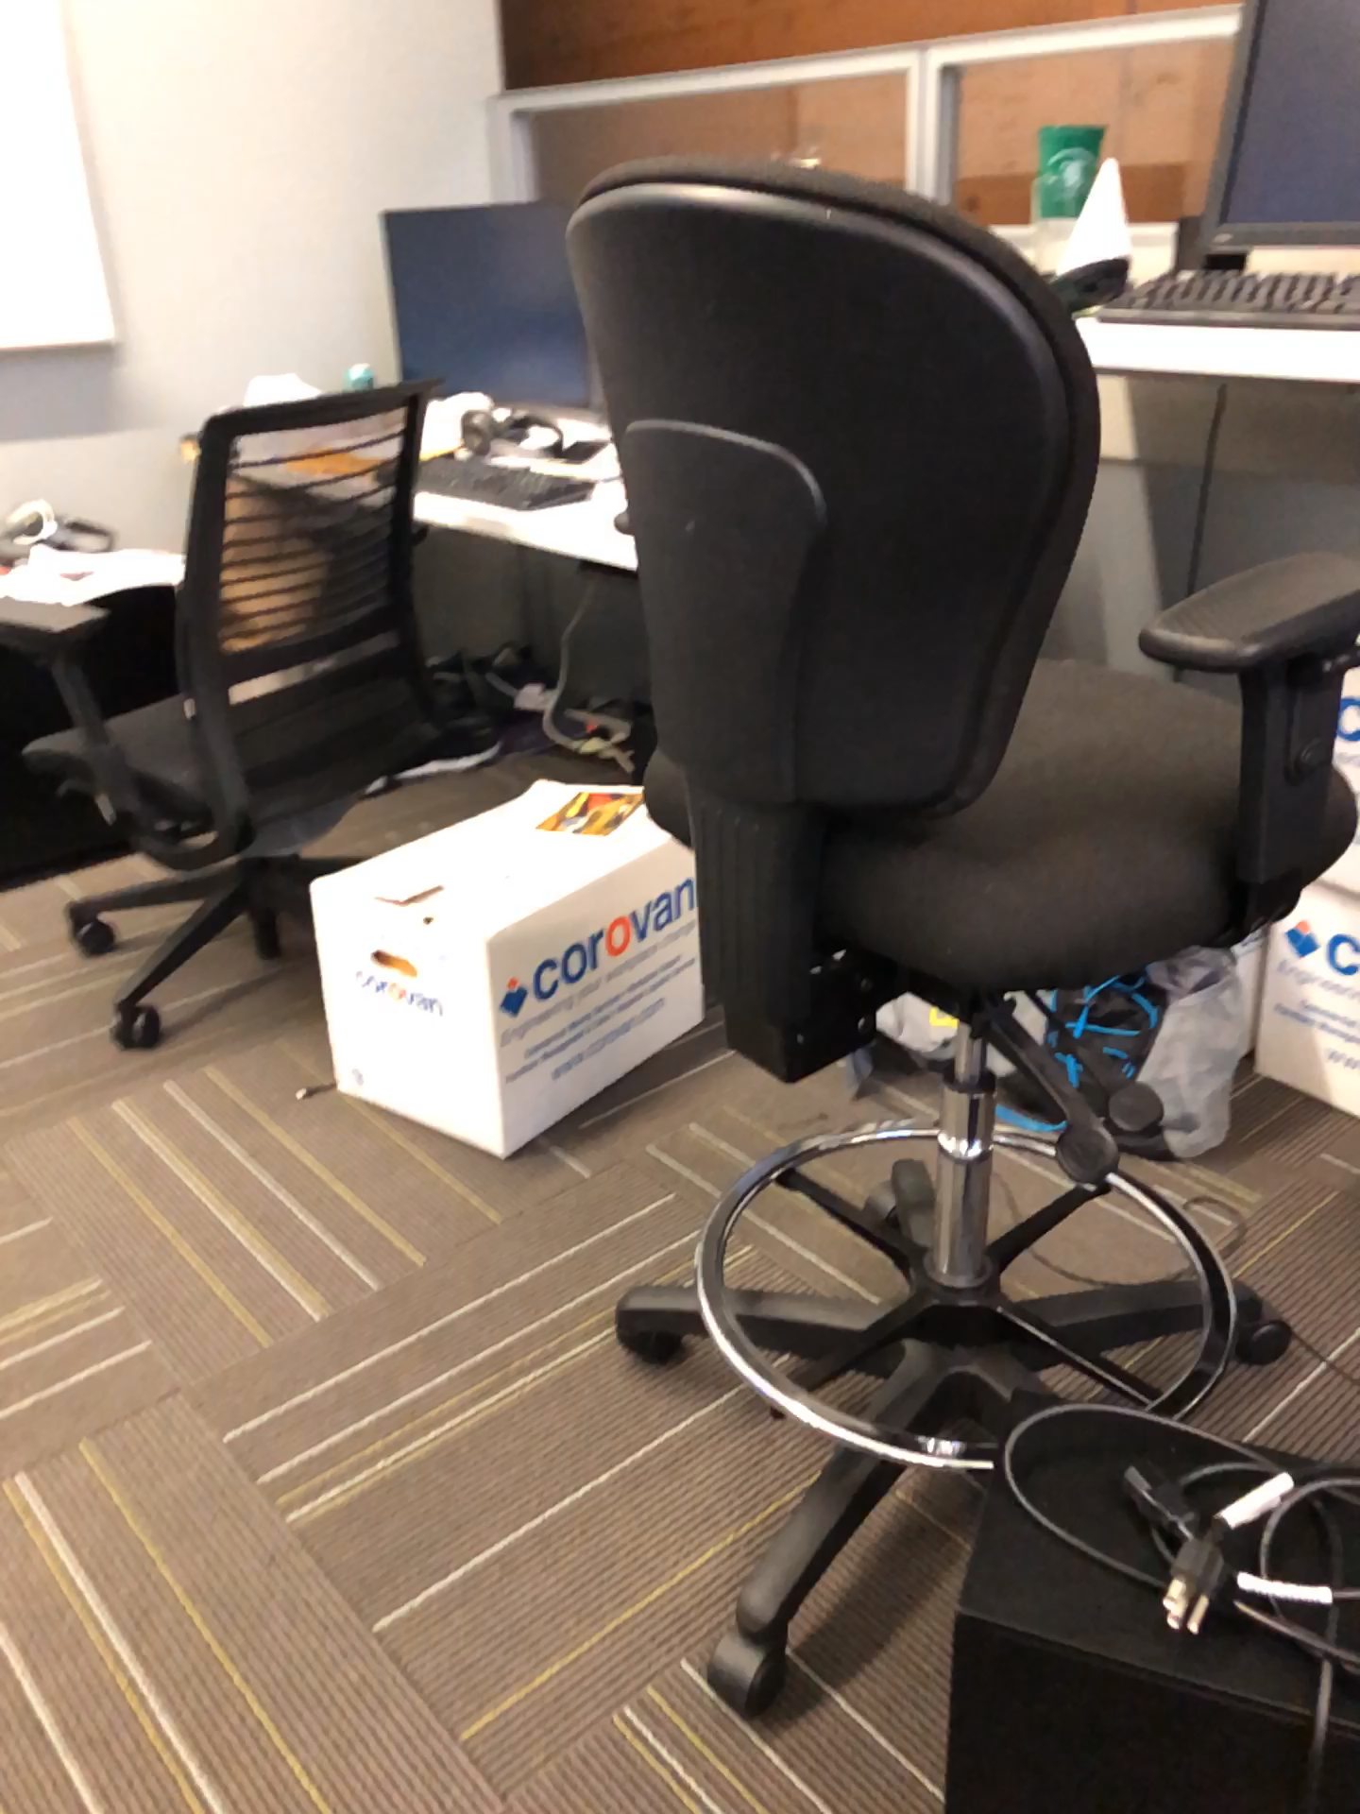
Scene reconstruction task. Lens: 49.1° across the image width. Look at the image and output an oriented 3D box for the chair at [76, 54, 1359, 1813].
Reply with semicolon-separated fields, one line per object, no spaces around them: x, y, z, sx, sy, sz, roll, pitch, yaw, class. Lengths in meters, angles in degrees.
0.224;-0.057;1.311;0.962;1.104;0.893;-22;31;-36;chair
